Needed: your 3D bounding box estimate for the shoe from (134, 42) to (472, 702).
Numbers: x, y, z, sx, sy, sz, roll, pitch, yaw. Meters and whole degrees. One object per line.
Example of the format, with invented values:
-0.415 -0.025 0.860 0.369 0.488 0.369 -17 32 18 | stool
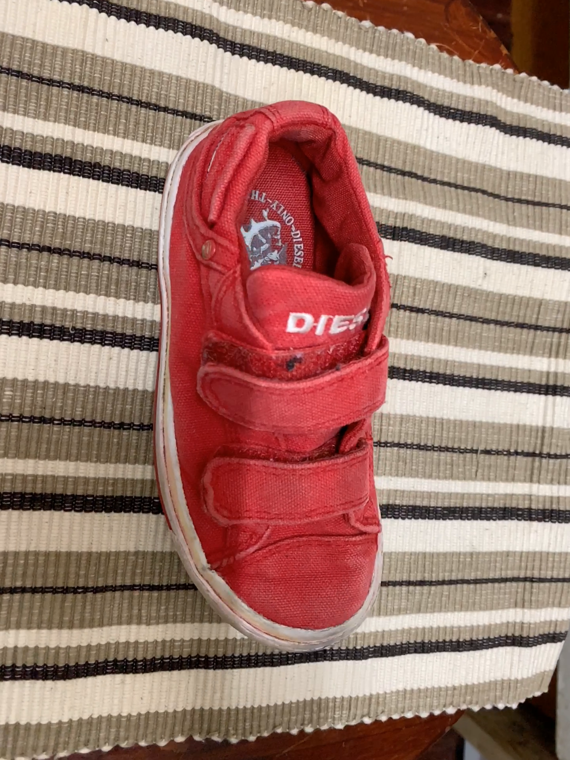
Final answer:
0.001 -0.004 0.198 0.080 0.070 0.170 -5 92 -19 | shoe
